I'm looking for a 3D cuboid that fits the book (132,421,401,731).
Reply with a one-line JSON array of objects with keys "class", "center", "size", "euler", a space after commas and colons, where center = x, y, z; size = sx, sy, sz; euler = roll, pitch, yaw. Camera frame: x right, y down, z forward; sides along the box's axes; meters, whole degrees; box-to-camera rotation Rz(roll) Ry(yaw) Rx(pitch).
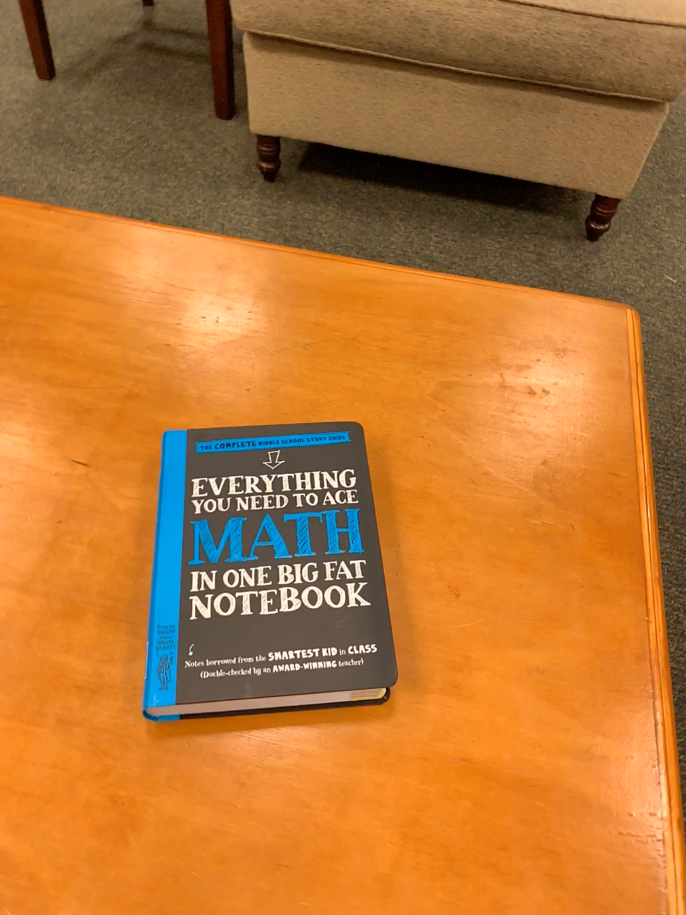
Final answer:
[{"class": "book", "center": [-0.055, 0.073, 0.497], "size": [0.160, 0.040, 0.211], "euler": [-3, 55, -5]}]
